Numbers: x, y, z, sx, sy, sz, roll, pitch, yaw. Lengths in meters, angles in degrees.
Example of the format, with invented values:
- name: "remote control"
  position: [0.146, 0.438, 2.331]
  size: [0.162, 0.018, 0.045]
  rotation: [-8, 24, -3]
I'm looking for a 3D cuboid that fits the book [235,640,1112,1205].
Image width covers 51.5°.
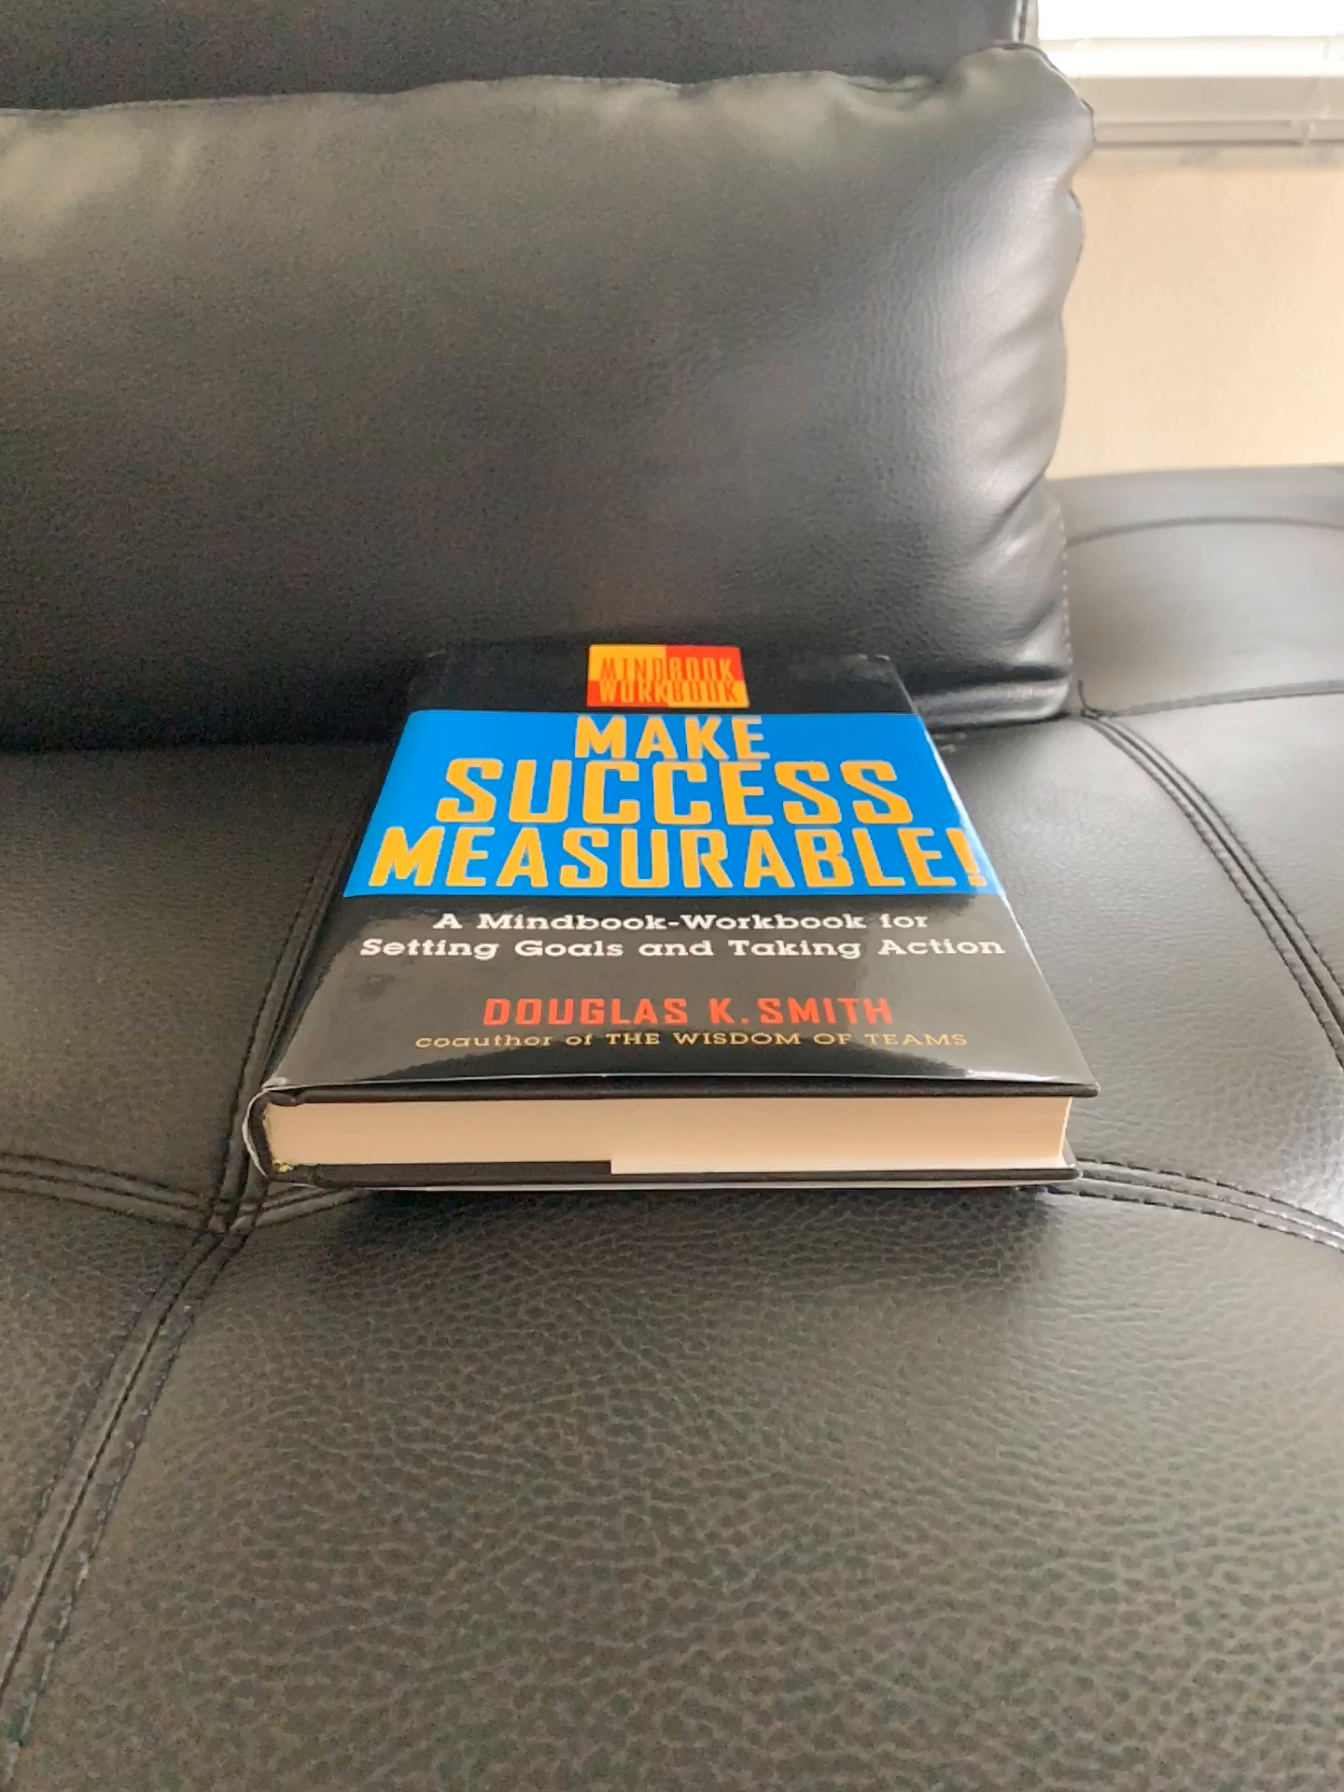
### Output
- name: "book"
  position: [-0.003, -0.013, 0.372]
  size: [0.164, 0.030, 0.242]
  rotation: [0, 30, -2]
